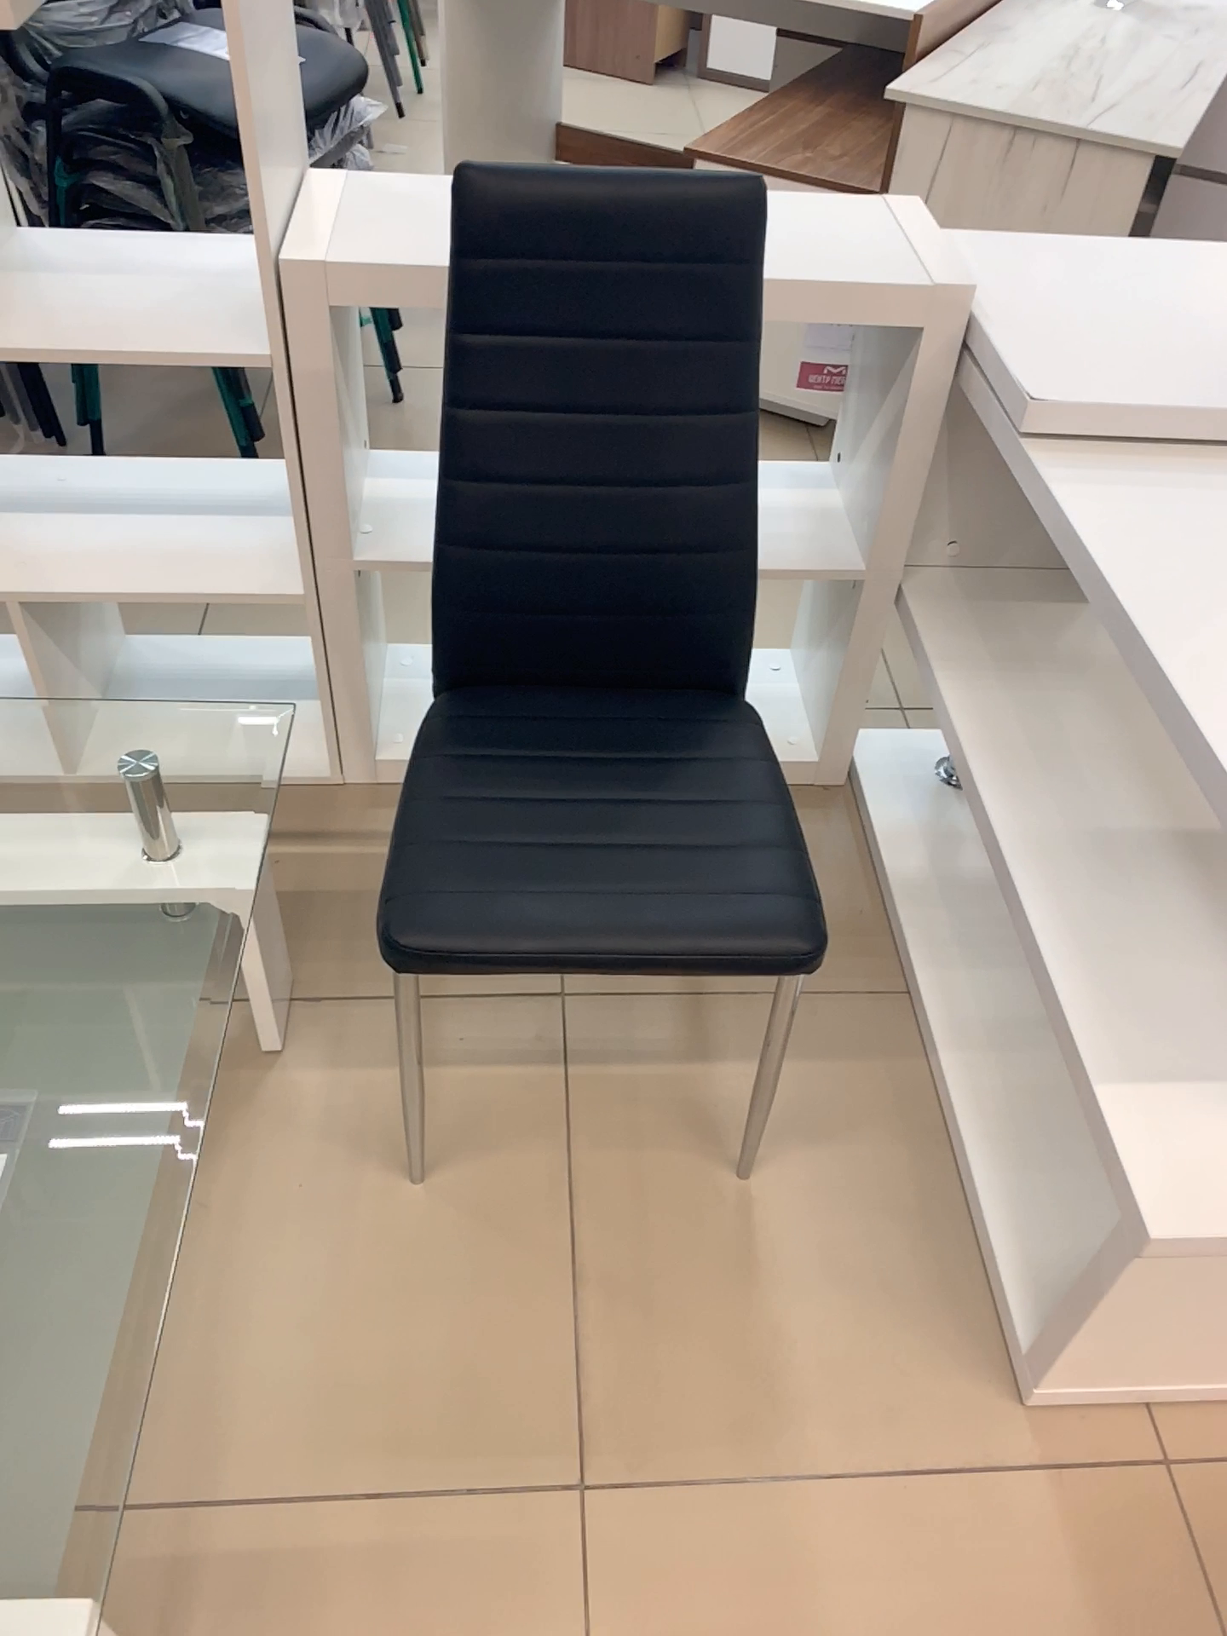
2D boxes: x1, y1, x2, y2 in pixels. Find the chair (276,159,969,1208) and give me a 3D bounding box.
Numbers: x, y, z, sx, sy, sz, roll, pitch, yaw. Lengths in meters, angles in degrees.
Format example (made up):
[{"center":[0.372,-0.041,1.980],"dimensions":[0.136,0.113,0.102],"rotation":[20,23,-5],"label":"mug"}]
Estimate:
[{"center":[-0.017,-0.100,1.324],"dimensions":[0.440,0.916,0.603],"rotation":[1,43,-2],"label":"chair"}]
